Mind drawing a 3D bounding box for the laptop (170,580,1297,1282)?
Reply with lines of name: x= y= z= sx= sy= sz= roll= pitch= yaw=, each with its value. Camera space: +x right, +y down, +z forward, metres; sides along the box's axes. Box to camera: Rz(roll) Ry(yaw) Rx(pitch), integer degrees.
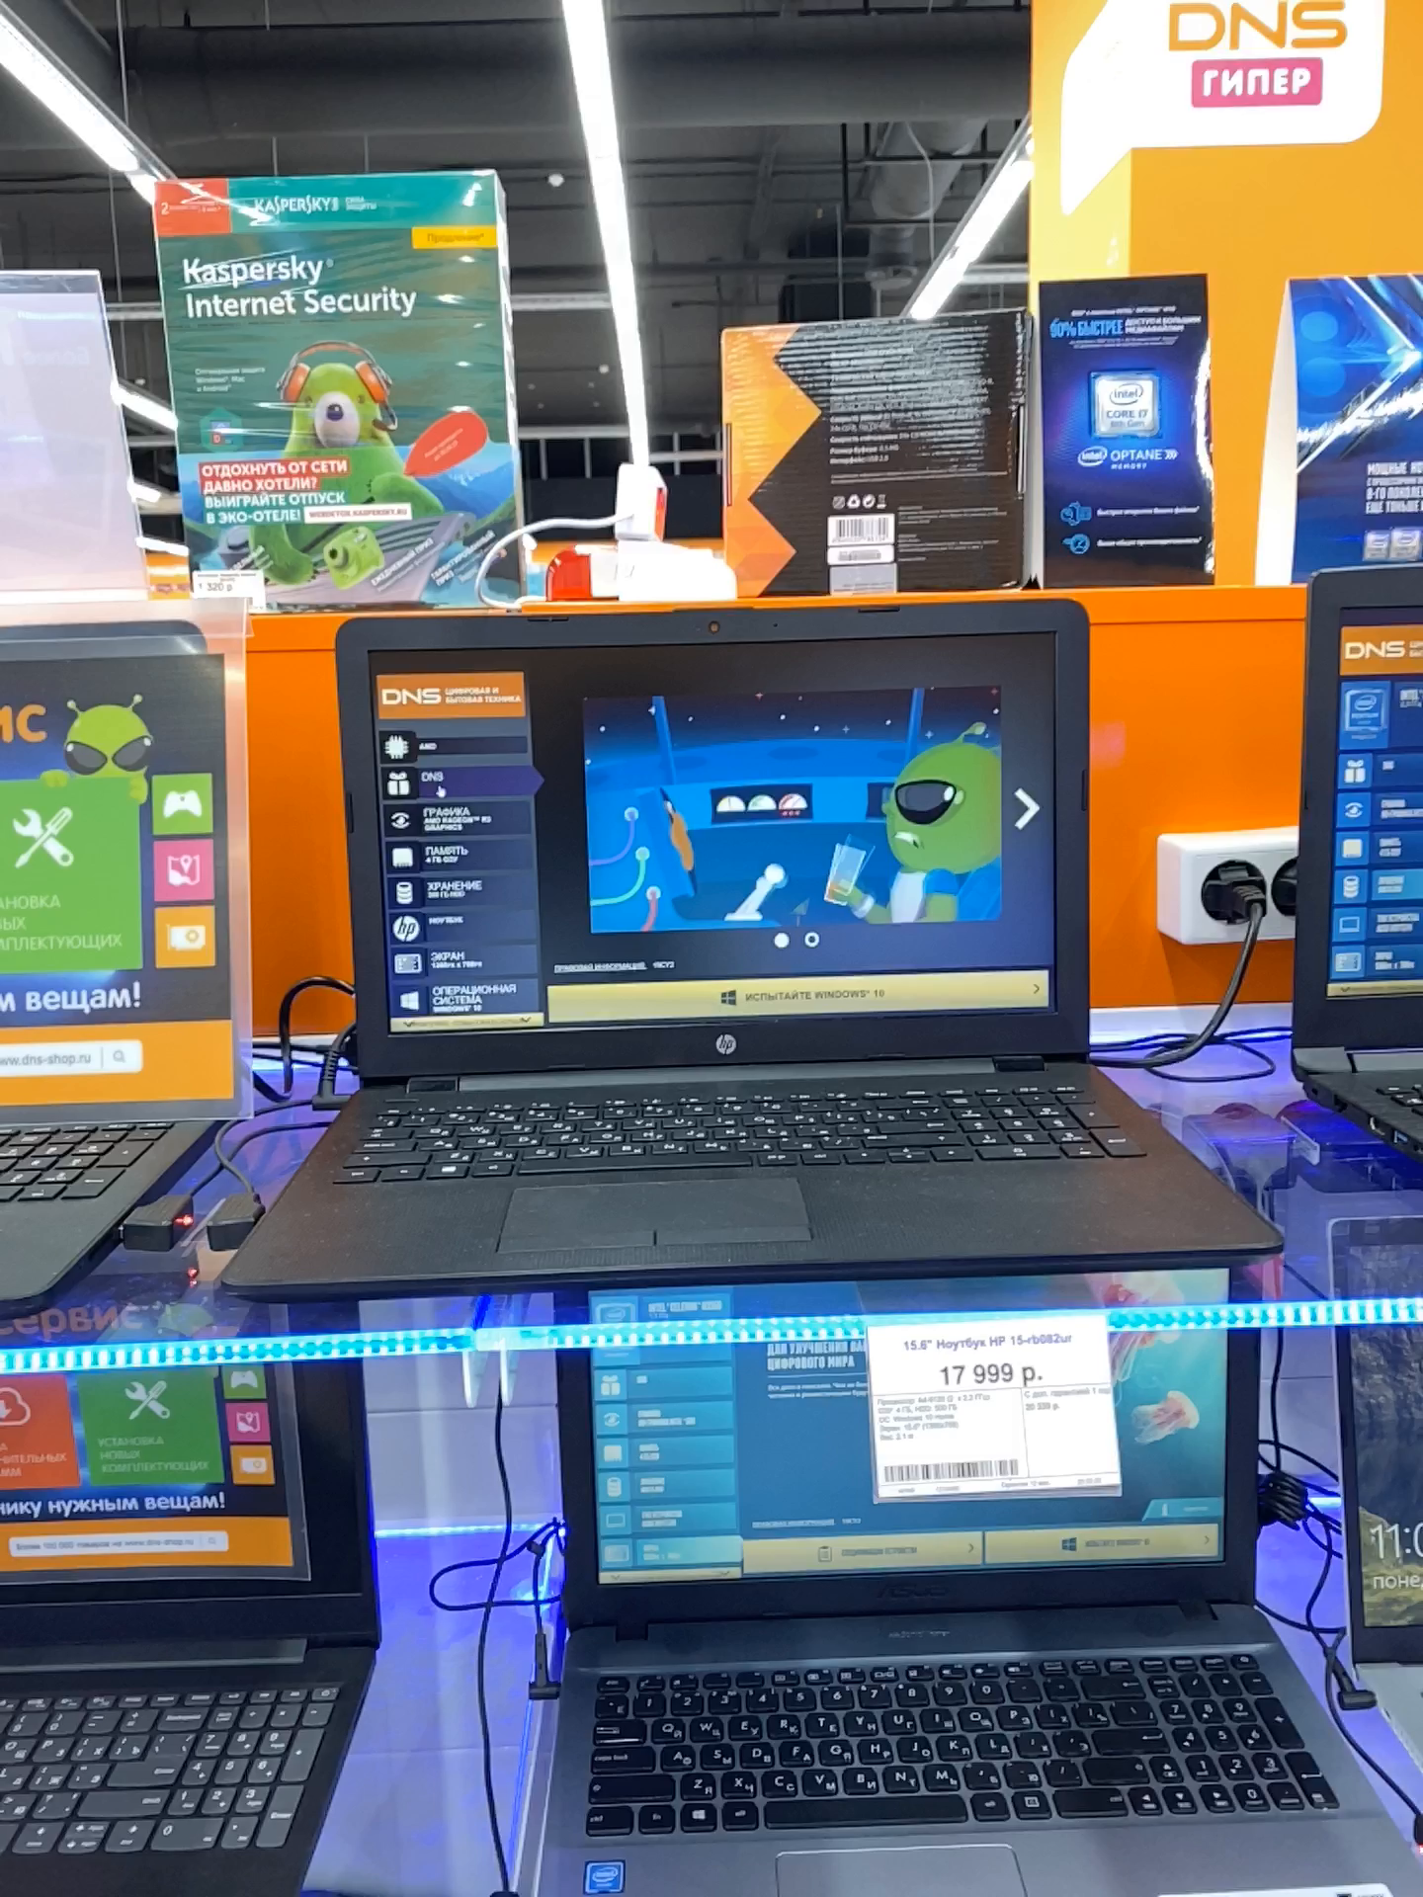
laptop: x=0.009 y=-0.029 z=0.626 sx=0.369 sy=0.231 sz=0.272 roll=-1 pitch=10 yaw=-2
